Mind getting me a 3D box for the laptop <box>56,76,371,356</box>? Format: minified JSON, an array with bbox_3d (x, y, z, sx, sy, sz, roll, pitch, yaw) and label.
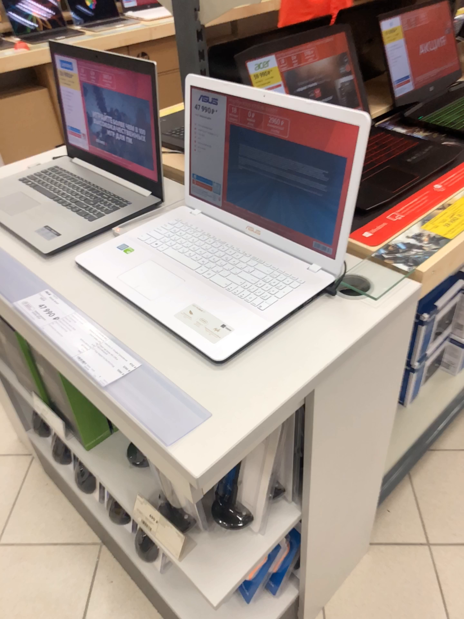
[{"bbox_3d":[-0.035,-0.185,0.822,0.301,0.235,0.387,-33,45,-30],"label":"laptop"}]
